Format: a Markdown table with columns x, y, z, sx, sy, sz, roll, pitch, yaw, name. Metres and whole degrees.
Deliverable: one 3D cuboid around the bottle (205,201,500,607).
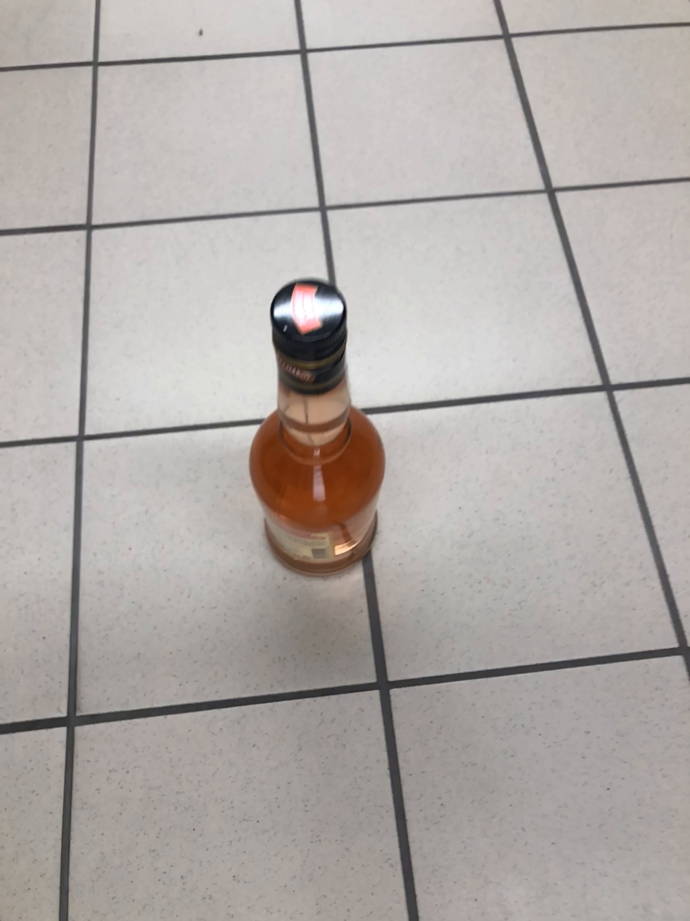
| x | y | z | sx | sy | sz | roll | pitch | yaw | name |
| --- | --- | --- | --- | --- | --- | --- | --- | --- | --- |
| 0.003 | -0.009 | 0.414 | 0.090 | 0.239 | 0.080 | 29 | 67 | 13 | bottle |
